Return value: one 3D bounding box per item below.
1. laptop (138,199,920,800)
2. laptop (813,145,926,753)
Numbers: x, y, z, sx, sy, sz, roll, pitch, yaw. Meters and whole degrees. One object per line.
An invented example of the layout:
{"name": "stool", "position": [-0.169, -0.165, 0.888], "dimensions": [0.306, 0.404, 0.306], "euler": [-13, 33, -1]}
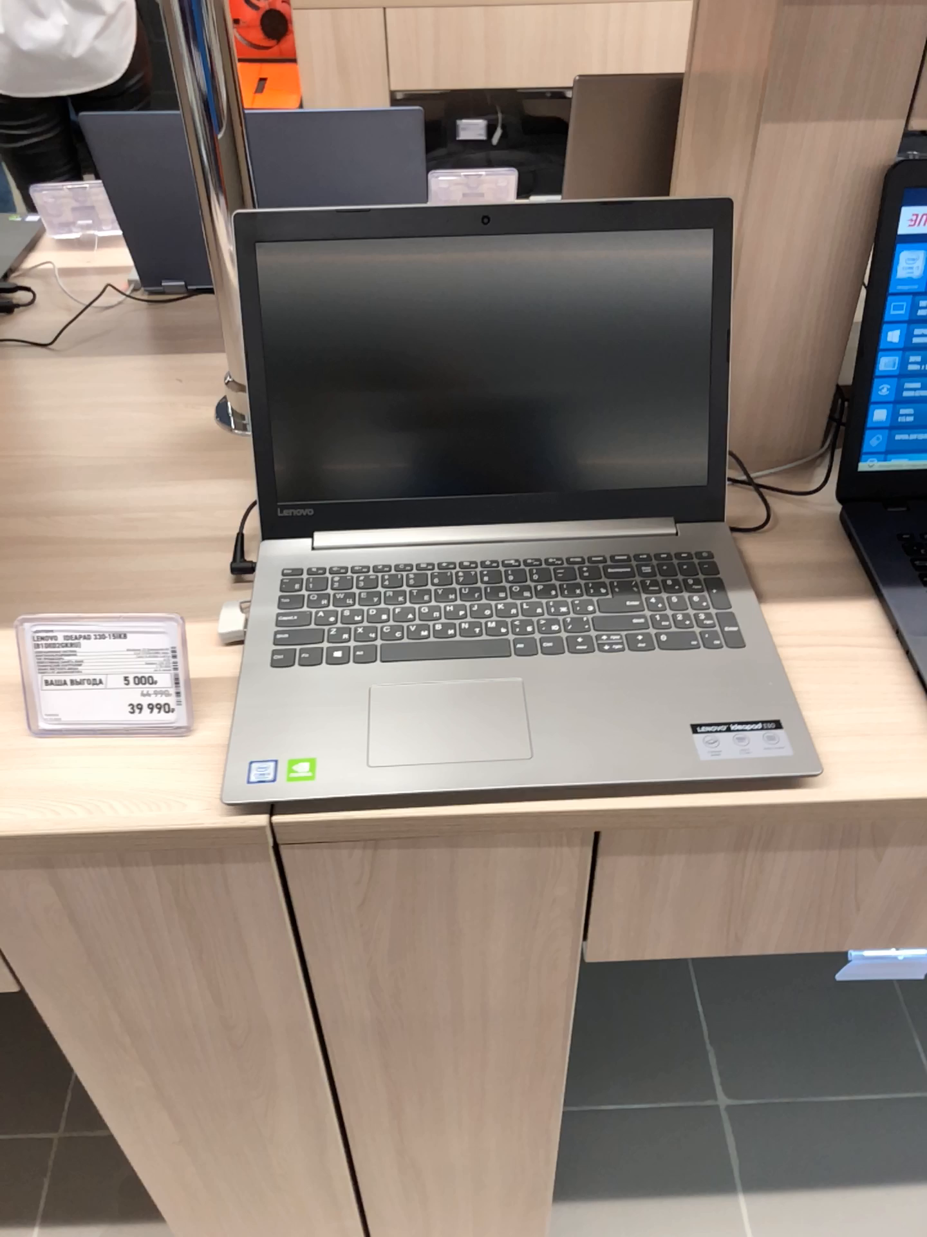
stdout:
{"name": "laptop", "position": [0.027, -0.100, 0.686], "dimensions": [0.370, 0.208, 0.367], "euler": [-3, 42, -1]}
{"name": "laptop", "position": [0.514, -0.125, 0.680], "dimensions": [0.403, 0.246, 0.335], "euler": [-2, 42, -1]}
